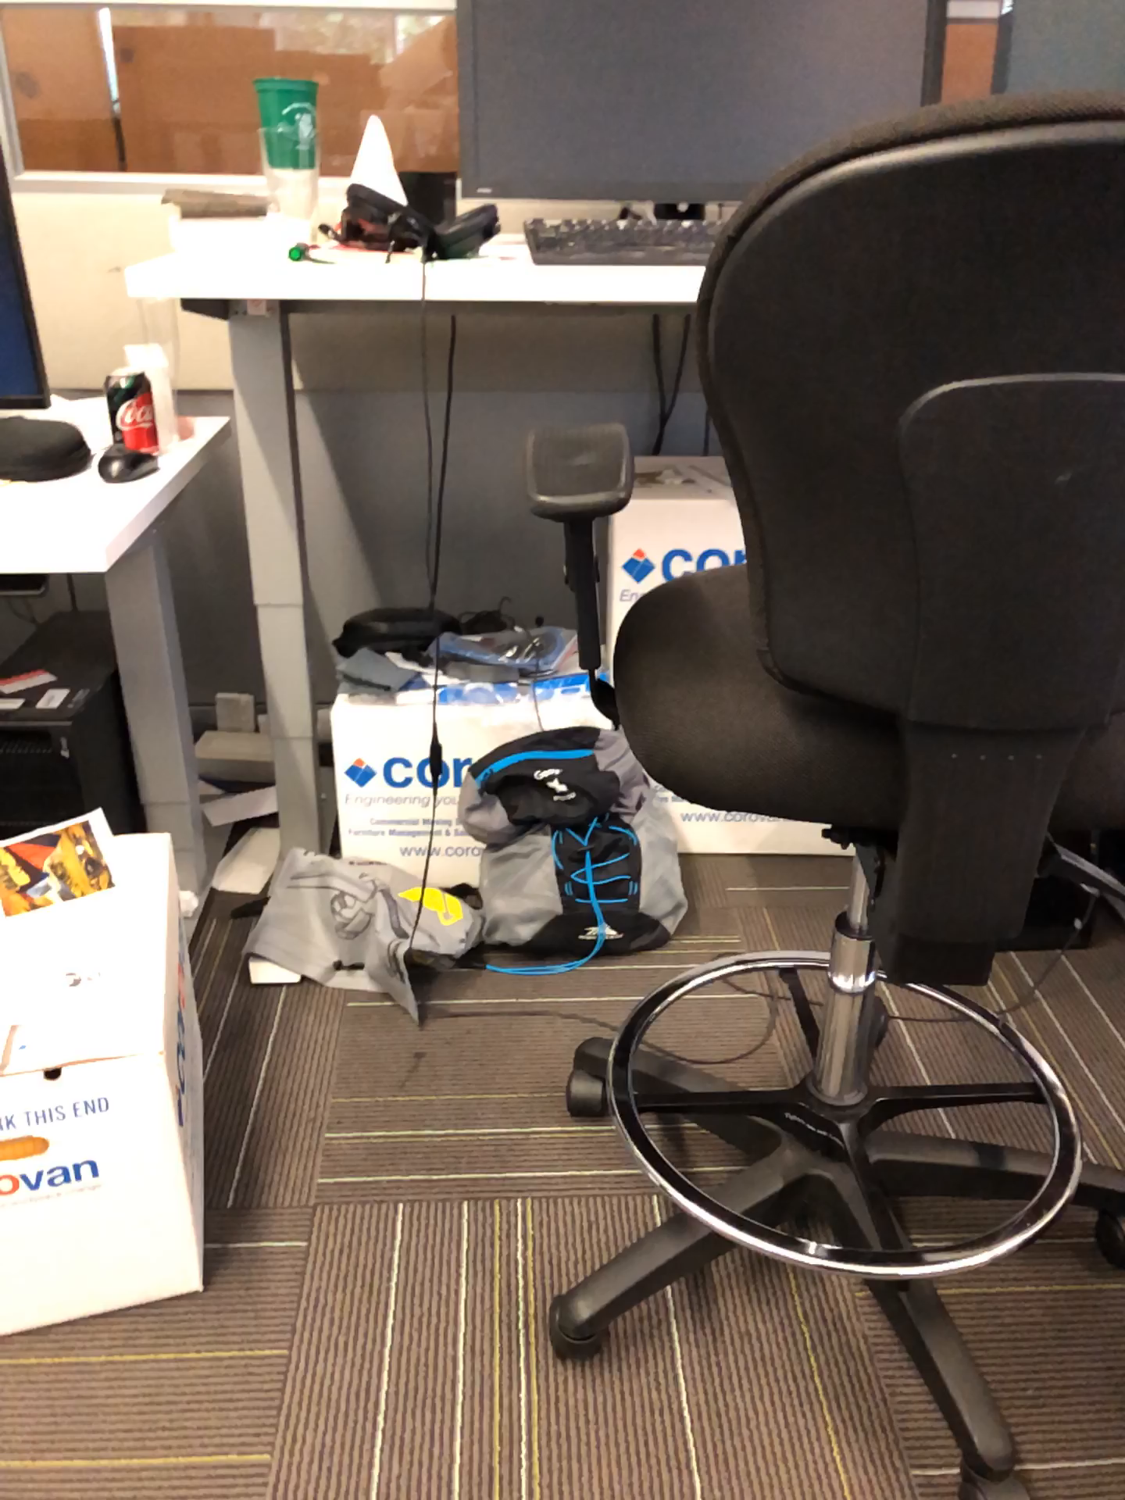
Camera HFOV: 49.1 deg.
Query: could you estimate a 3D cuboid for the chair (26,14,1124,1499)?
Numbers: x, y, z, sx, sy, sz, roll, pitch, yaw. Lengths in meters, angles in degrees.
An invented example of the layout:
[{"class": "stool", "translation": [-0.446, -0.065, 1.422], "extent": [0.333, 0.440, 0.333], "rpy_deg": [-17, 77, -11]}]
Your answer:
[{"class": "chair", "translation": [0.197, -0.011, 1.182], "extent": [0.890, 1.104, 0.965], "rpy_deg": [-1, 26, -4]}]
